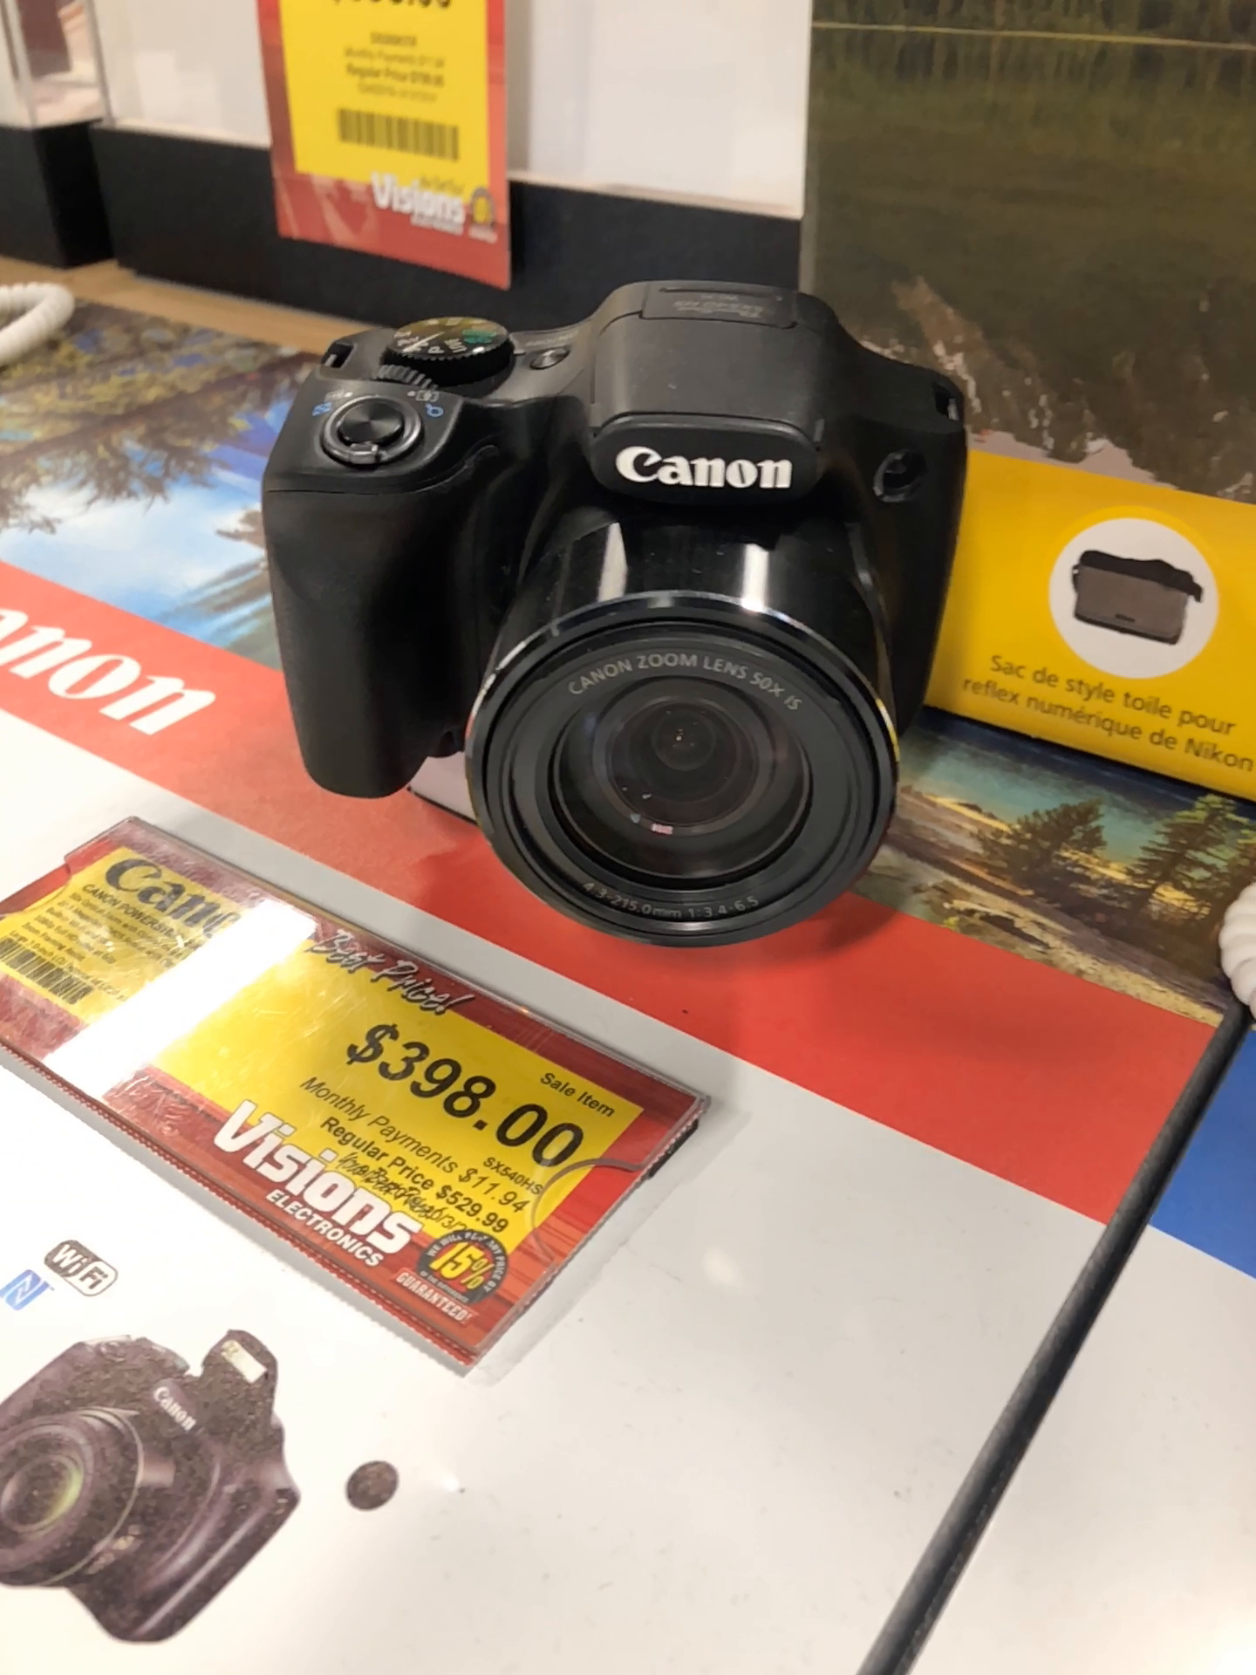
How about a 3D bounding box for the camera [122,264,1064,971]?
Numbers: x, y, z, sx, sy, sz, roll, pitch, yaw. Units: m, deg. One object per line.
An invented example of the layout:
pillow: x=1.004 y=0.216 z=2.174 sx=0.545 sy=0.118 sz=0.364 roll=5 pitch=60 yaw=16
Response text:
camera: x=0.000 y=-0.043 z=0.234 sx=0.120 sy=0.079 sz=0.091 roll=4 pitch=35 yaw=8
